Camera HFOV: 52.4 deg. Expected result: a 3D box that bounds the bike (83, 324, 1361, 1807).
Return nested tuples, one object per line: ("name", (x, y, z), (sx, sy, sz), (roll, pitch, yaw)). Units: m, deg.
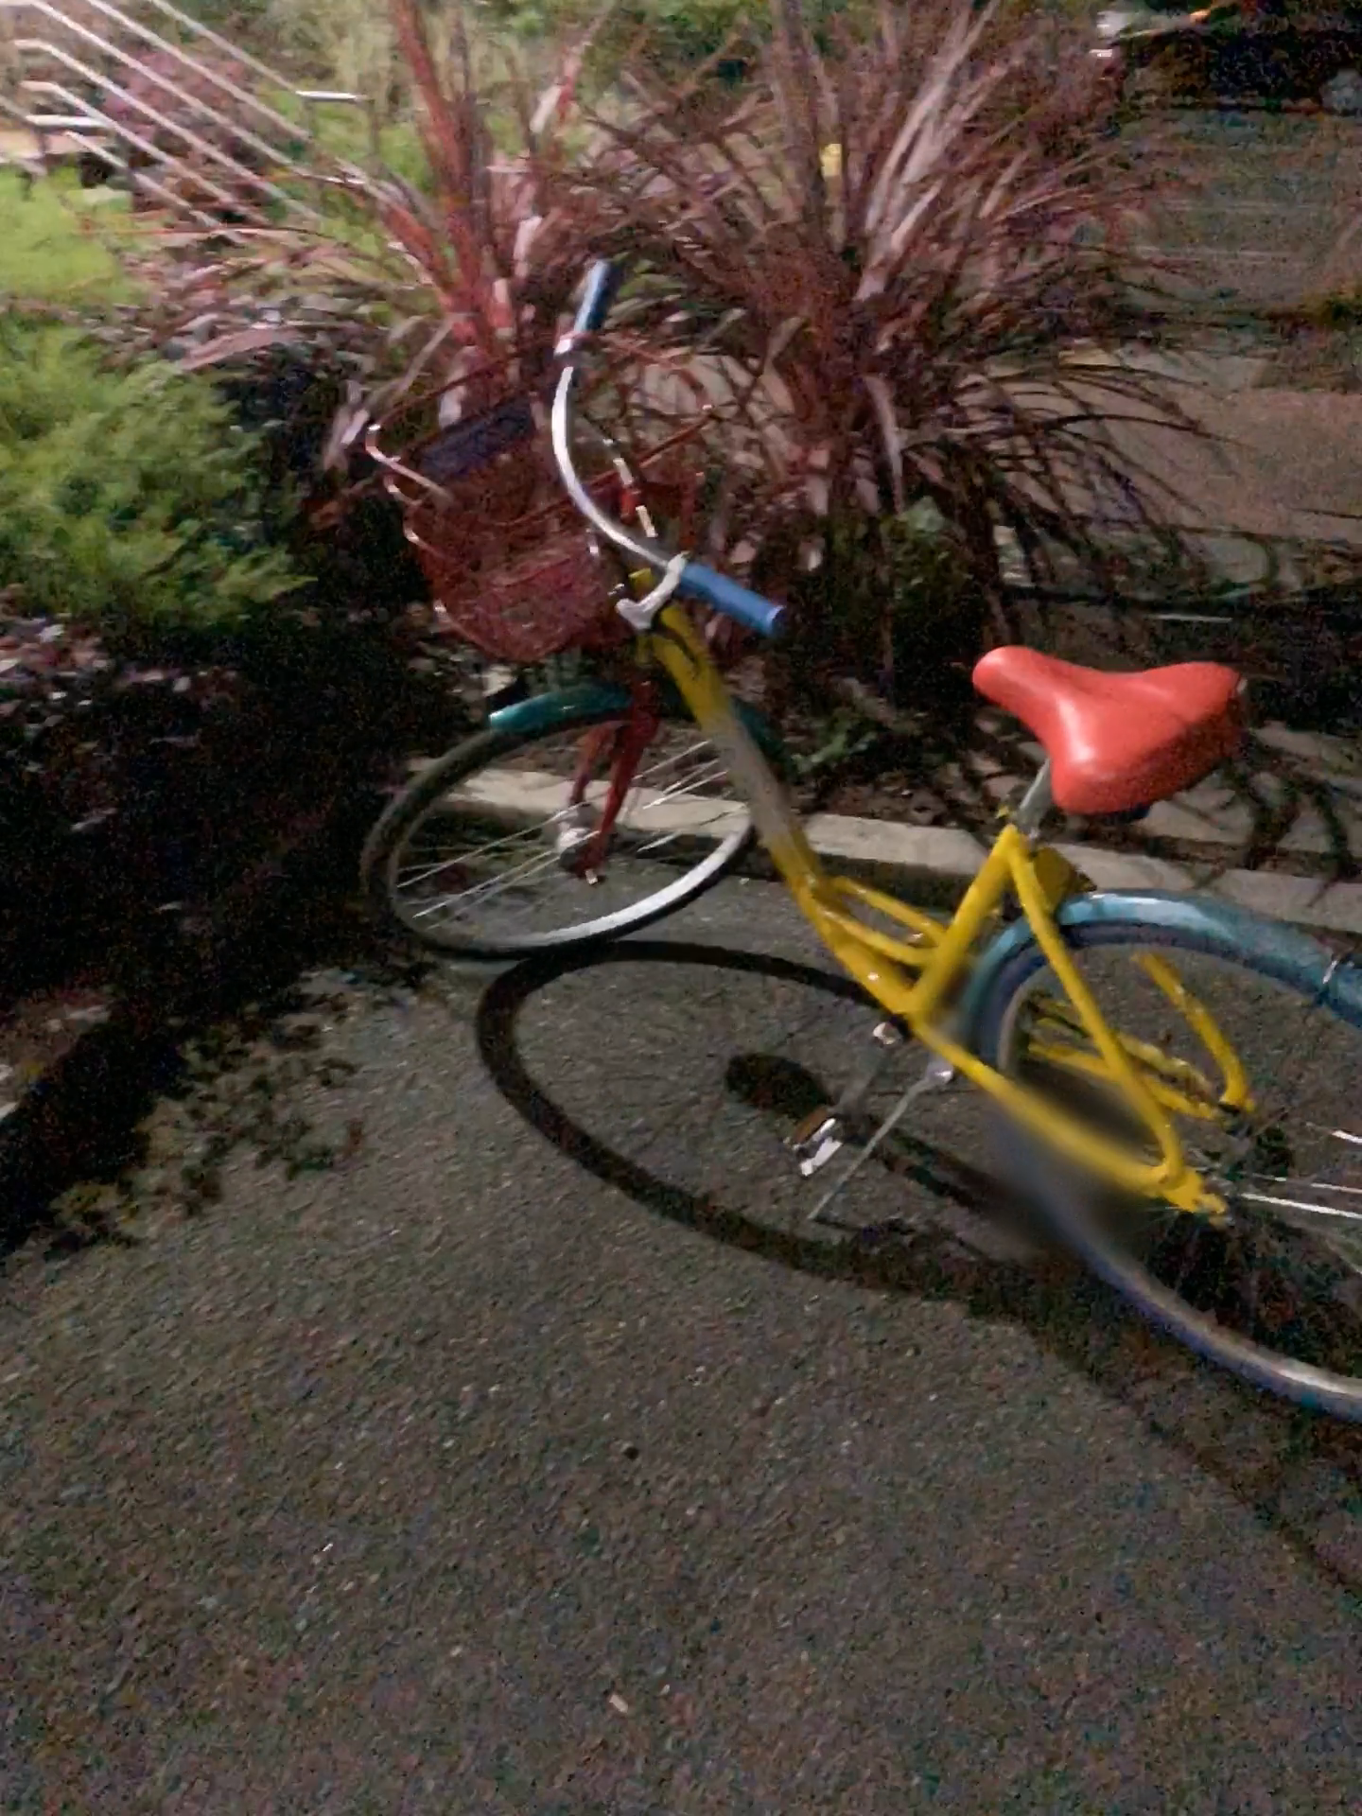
("bike", (0.159, 0.000, 1.584), (1.587, 1.085, 0.601), (20, 37, 31))
